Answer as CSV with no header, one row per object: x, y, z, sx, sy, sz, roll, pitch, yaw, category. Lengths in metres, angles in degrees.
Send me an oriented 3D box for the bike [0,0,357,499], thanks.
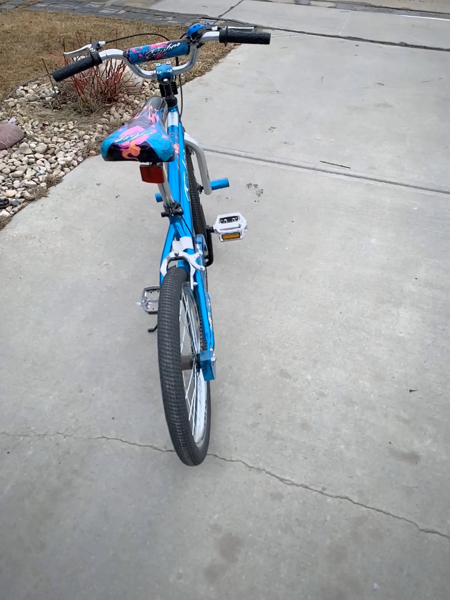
-0.237,-0.273,1.379,0.680,0.836,1.393,-2,44,-4,bike
